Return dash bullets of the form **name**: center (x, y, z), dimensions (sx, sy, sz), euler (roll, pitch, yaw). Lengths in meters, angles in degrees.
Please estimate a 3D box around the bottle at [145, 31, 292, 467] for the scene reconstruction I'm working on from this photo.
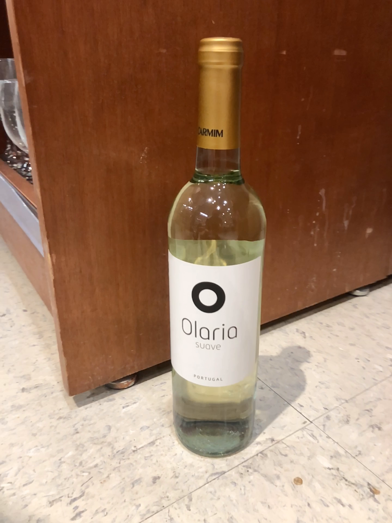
- **bottle**: center (0.017, 0.007, 0.330), dimensions (0.080, 0.318, 0.071), euler (2, 23, 6)
